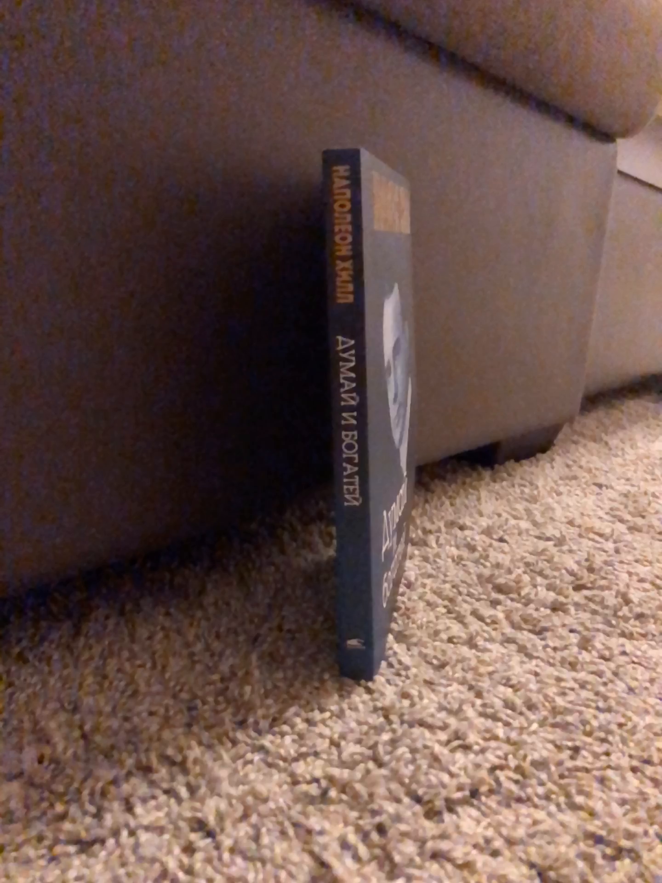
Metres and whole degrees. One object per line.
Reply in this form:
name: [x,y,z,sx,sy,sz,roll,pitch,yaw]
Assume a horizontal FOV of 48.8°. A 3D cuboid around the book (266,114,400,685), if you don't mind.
book: [0.008,-0.021,0.318,0.030,0.198,0.132,0,12,10]
